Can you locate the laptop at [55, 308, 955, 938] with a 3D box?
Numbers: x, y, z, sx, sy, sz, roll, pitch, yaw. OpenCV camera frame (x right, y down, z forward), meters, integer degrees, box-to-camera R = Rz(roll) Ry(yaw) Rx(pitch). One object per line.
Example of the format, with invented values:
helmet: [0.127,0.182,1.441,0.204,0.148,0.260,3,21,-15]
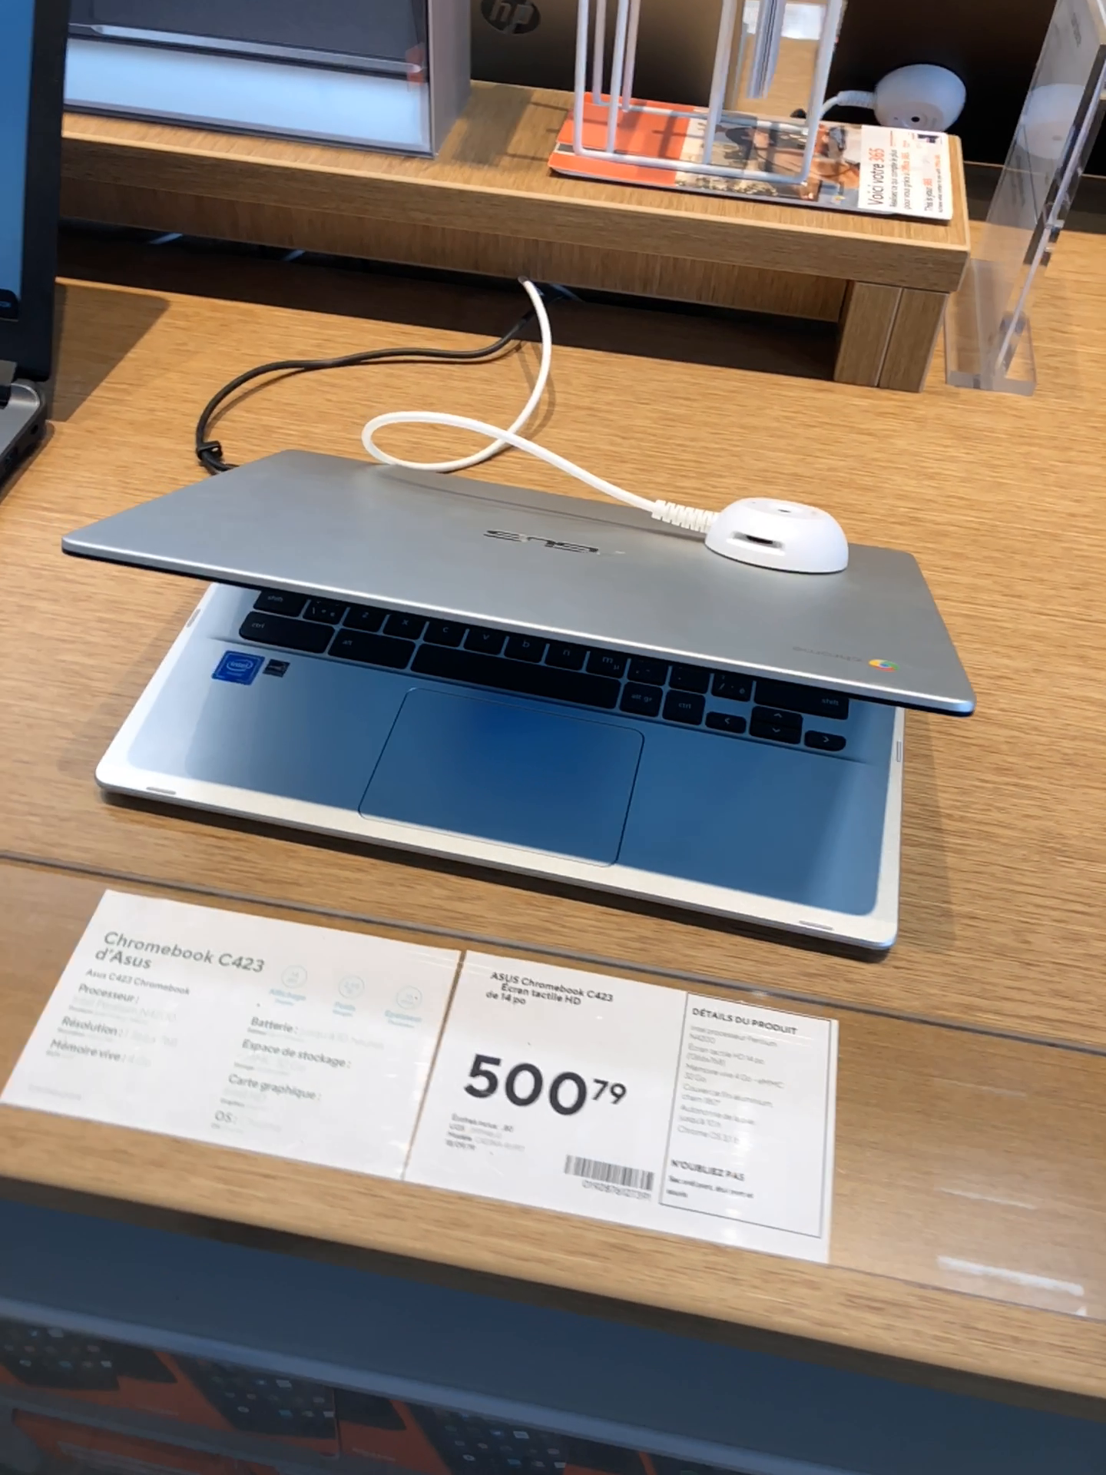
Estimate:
laptop: [-0.001,-0.059,0.497,0.304,0.080,0.206,11,51,5]
